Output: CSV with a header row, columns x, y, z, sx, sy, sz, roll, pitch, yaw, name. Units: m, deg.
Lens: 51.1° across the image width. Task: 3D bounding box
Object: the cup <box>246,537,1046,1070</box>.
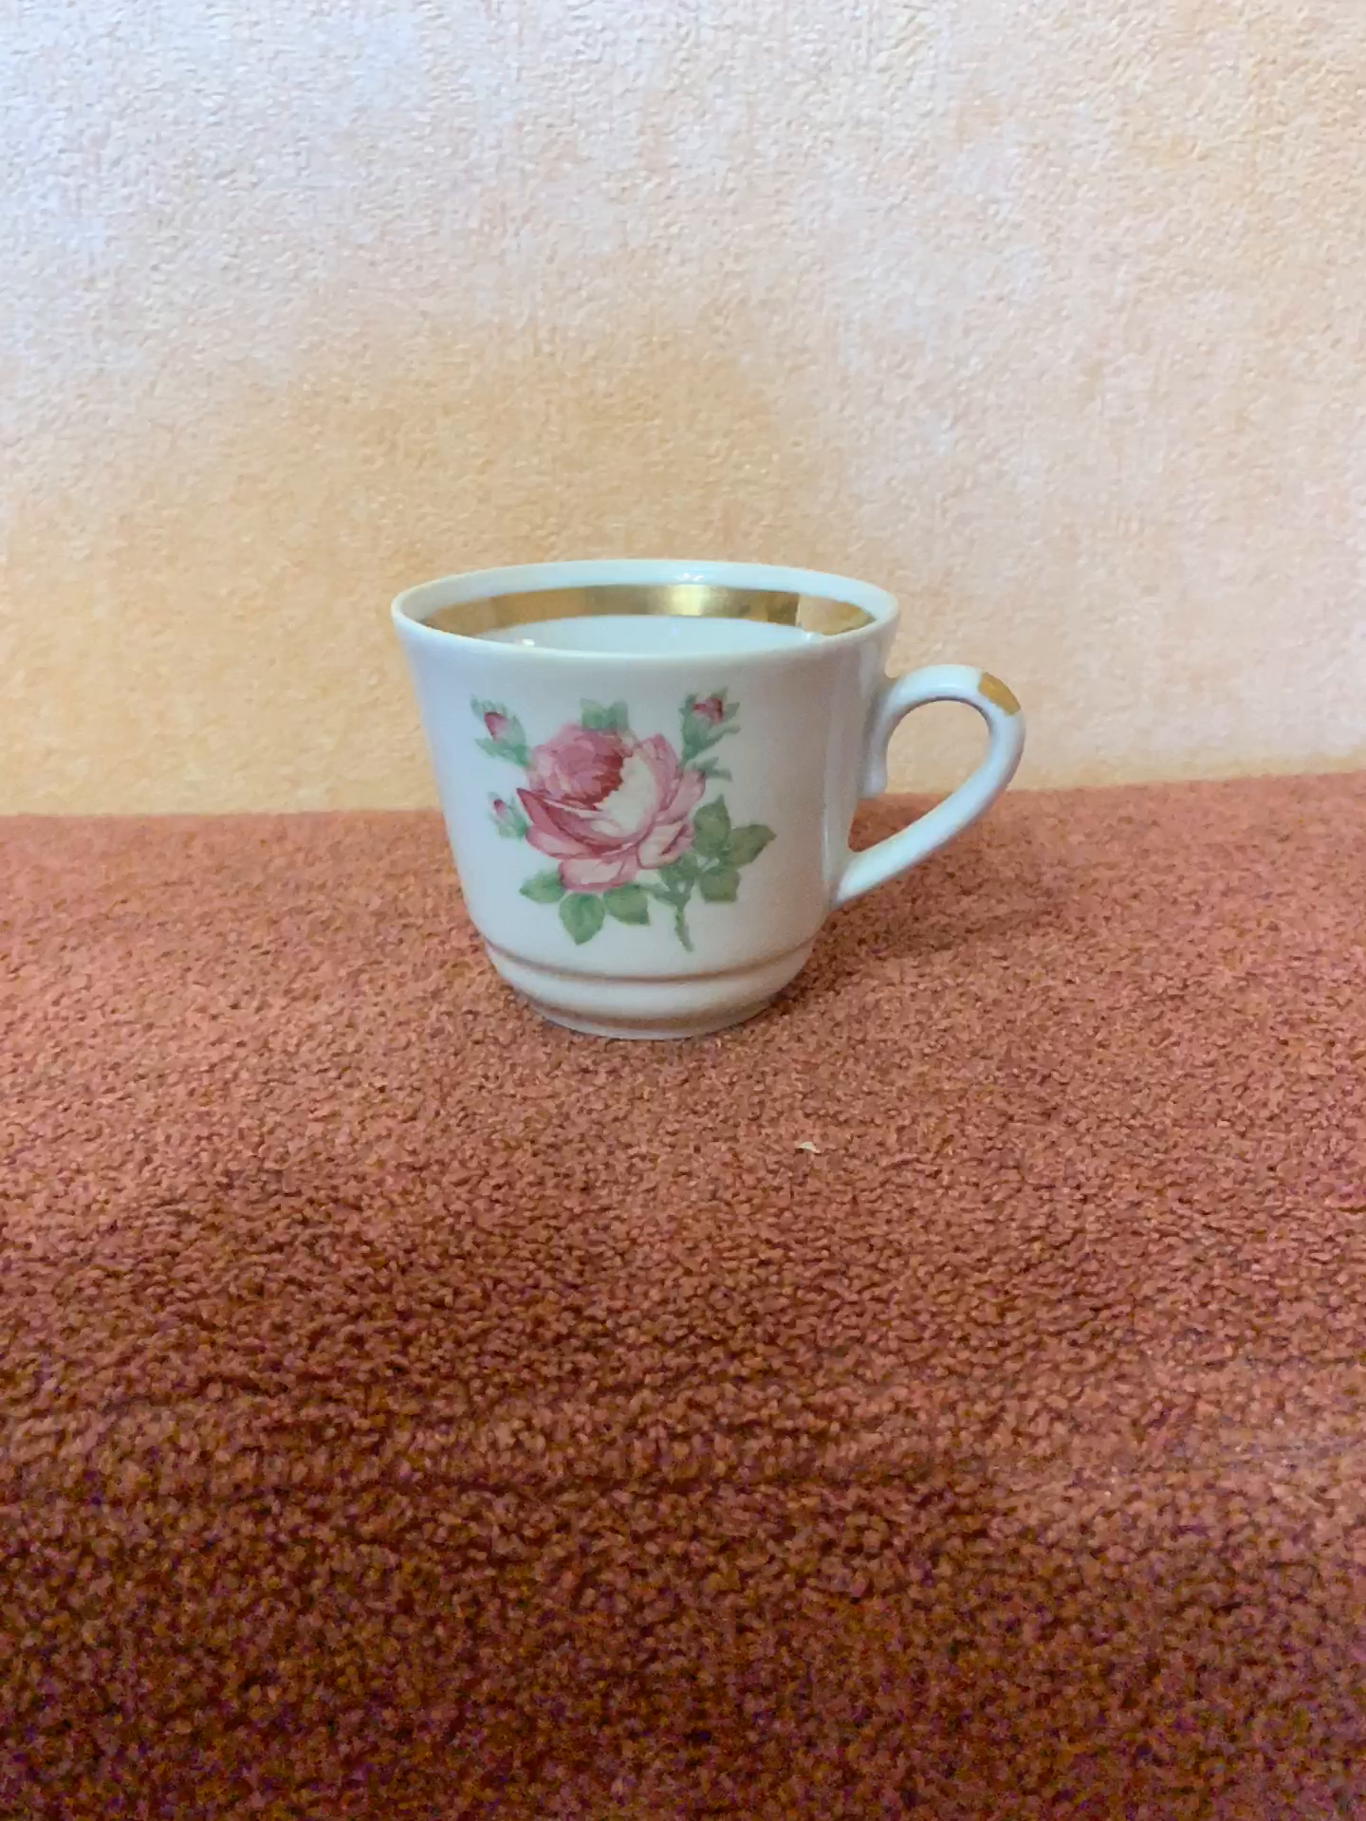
x,y,z,sx,sy,sz,roll,pitch,yaw,name
0.000,-0.019,0.189,0.086,0.047,0.067,3,25,10,cup
